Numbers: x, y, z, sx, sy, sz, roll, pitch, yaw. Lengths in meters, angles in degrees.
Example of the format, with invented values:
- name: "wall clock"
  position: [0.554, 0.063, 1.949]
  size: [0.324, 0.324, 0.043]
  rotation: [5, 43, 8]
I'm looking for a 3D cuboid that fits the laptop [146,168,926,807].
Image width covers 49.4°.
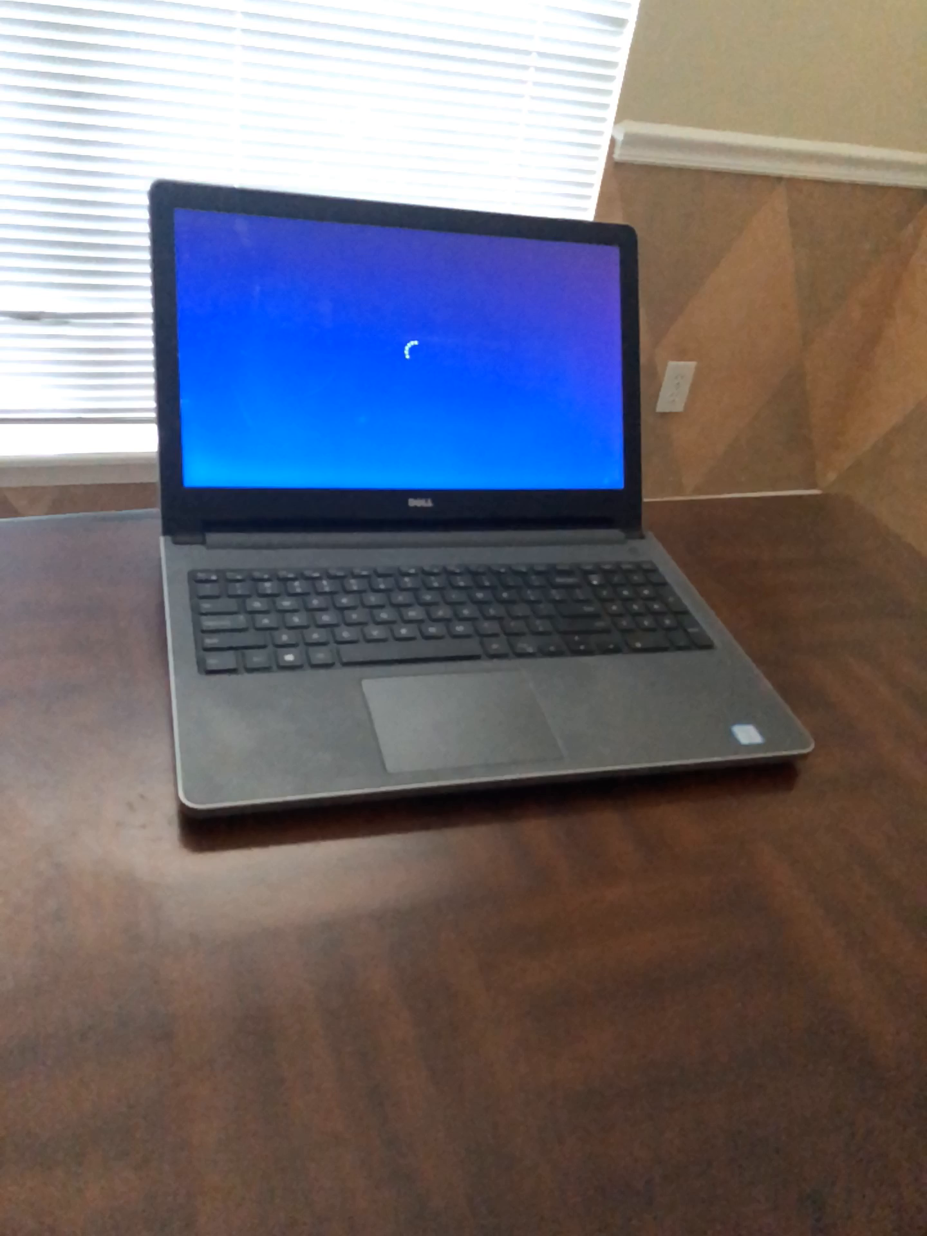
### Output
- name: "laptop"
  position: [0.001, -0.111, 0.641]
  size: [0.367, 0.198, 0.394]
  rotation: [-2, 37, -19]
